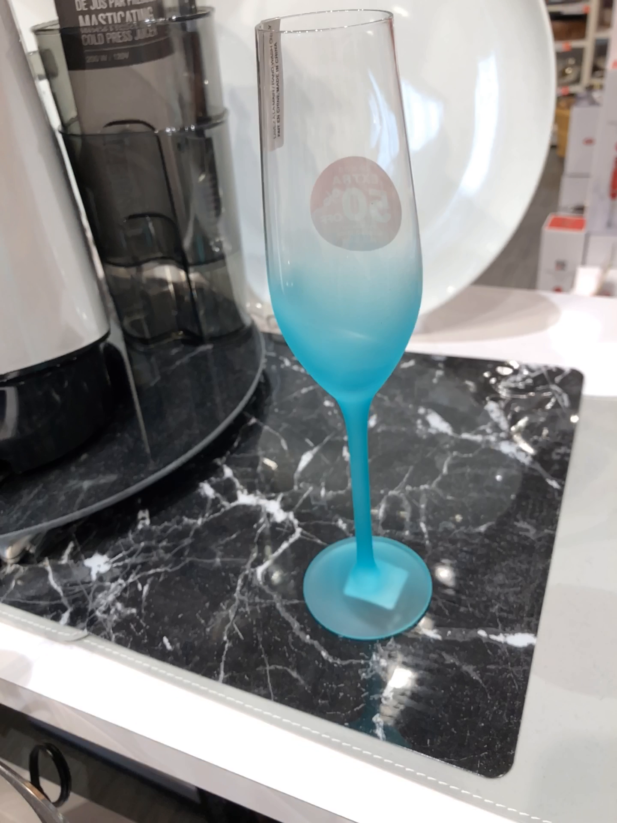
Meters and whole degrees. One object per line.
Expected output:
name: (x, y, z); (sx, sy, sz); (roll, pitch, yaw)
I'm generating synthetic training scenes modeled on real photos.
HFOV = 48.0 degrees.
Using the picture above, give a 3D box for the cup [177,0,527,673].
cup: (0.022, -0.016, 0.264); (0.070, 0.239, 0.070); (-4, 35, 3)
